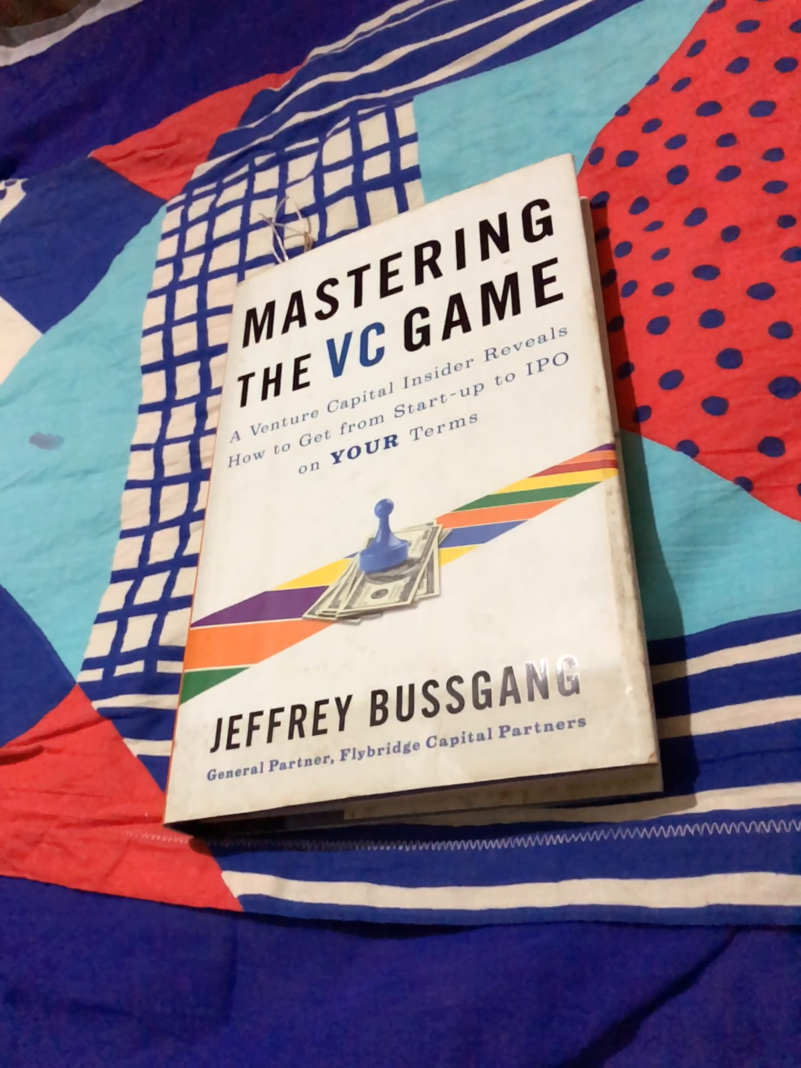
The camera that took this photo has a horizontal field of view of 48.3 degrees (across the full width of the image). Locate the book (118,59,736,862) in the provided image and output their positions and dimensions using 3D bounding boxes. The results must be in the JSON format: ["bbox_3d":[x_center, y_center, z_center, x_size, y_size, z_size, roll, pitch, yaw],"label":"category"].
[{"bbox_3d":[0.004,-0.034,0.336,0.180,0.050,0.280,-14,57,24],"label":"book"}]
